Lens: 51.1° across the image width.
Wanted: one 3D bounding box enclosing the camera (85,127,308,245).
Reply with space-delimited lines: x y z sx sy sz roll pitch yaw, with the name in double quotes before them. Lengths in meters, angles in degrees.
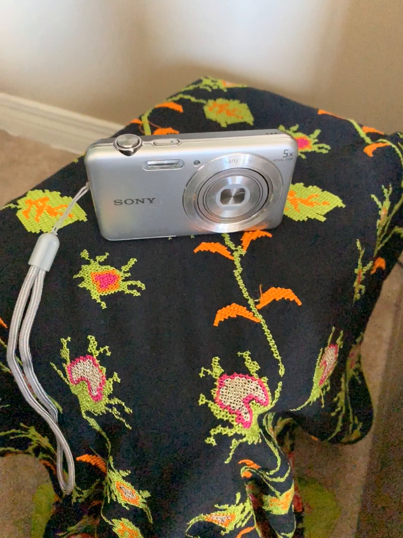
"camera" -0.002 -0.036 0.184 0.086 0.042 0.020 -5 49 -6
